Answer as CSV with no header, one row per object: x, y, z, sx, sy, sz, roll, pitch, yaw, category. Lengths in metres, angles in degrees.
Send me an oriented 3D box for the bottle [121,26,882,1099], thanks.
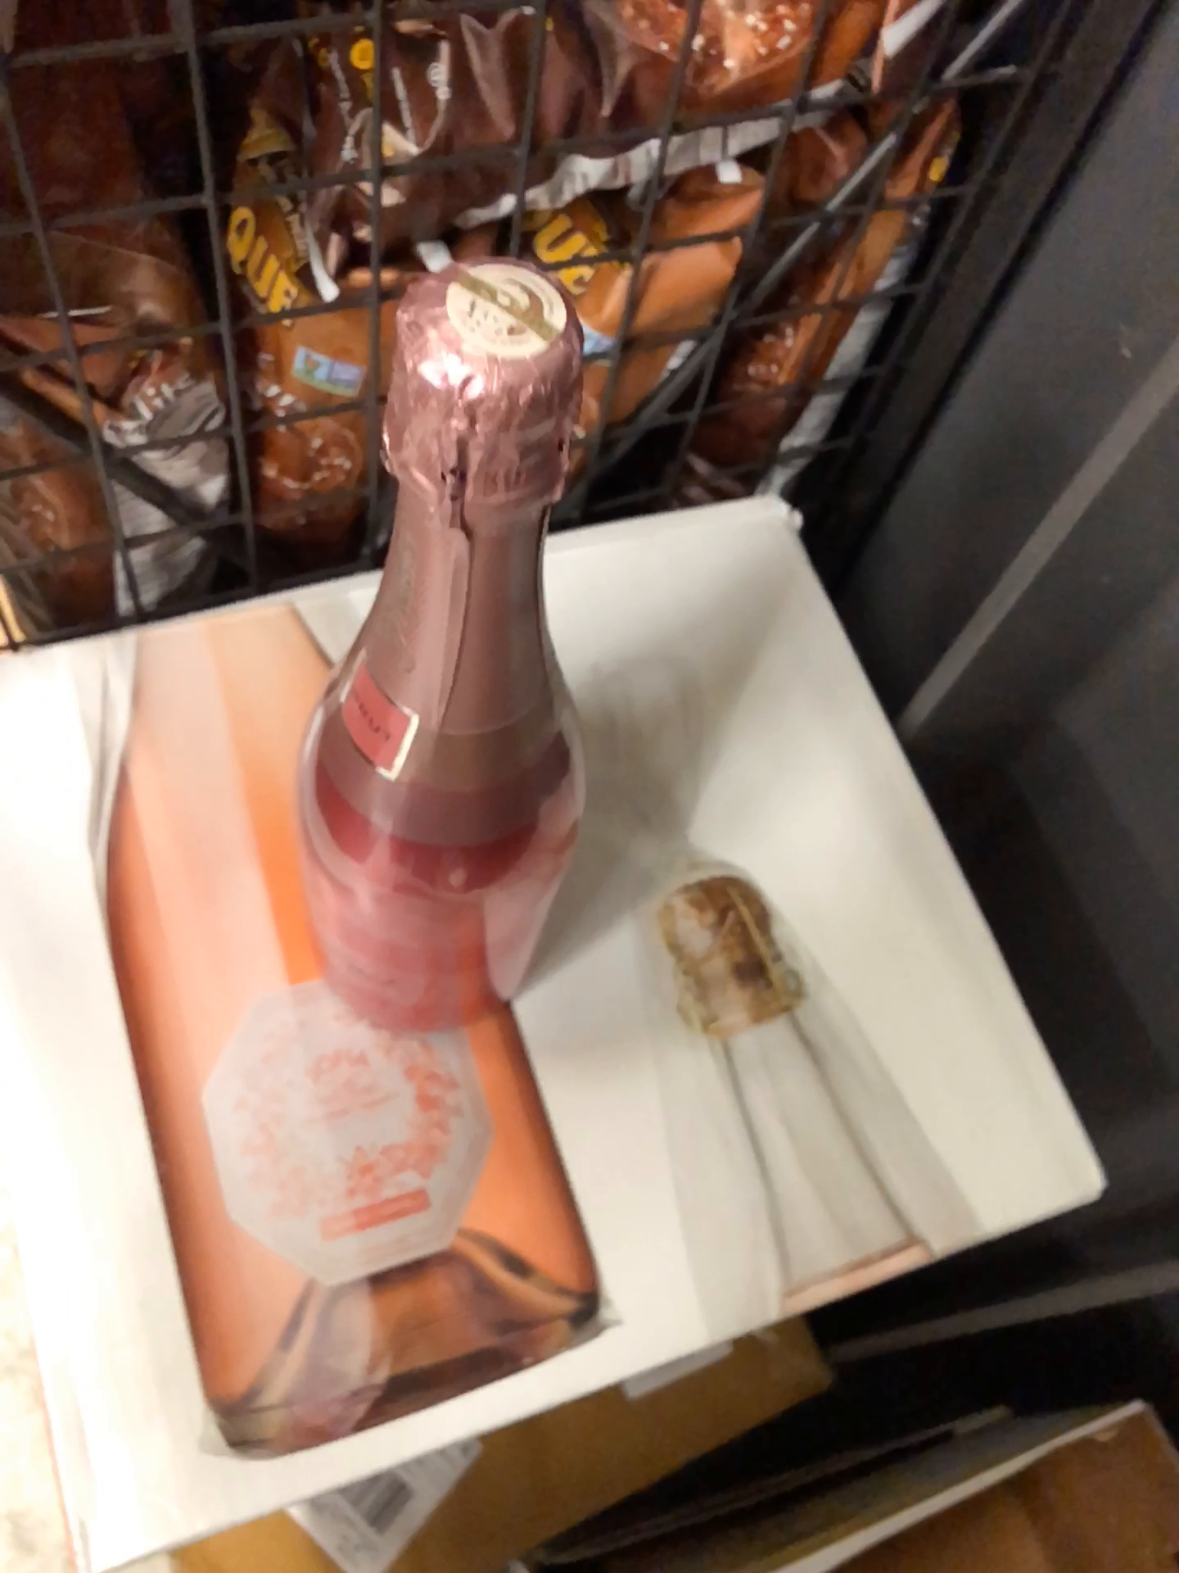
-0.037,-0.017,0.354,0.090,0.309,0.090,4,62,-8,bottle
